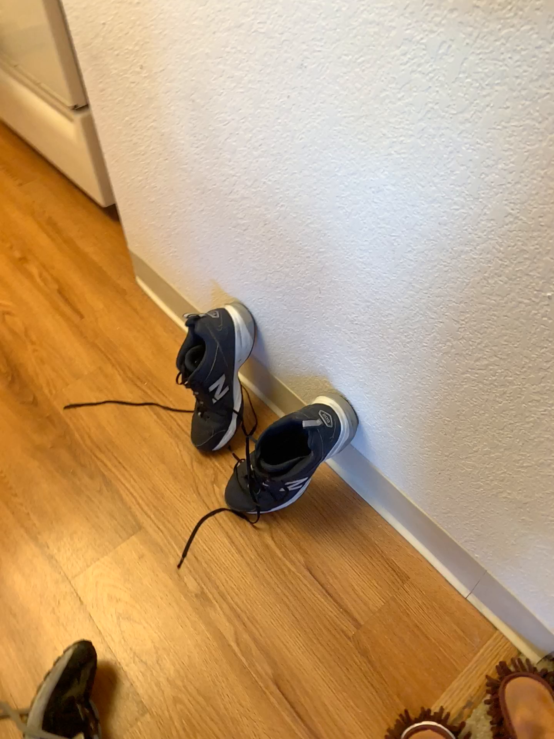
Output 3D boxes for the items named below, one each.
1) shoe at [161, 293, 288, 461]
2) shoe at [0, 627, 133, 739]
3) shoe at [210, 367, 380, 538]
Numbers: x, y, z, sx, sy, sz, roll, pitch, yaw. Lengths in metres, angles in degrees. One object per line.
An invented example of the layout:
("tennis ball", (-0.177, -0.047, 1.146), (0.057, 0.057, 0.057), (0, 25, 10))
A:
("shoe", (-0.107, 0.009, 1.152), (0.150, 0.259, 0.180), (22, 28, 18))
("shoe", (-0.285, 0.522, 0.754), (0.110, 0.109, 0.301), (-6, 51, 5))
("shoe", (0.019, 0.132, 0.877), (0.110, 0.259, 0.110), (-22, 66, -48))
